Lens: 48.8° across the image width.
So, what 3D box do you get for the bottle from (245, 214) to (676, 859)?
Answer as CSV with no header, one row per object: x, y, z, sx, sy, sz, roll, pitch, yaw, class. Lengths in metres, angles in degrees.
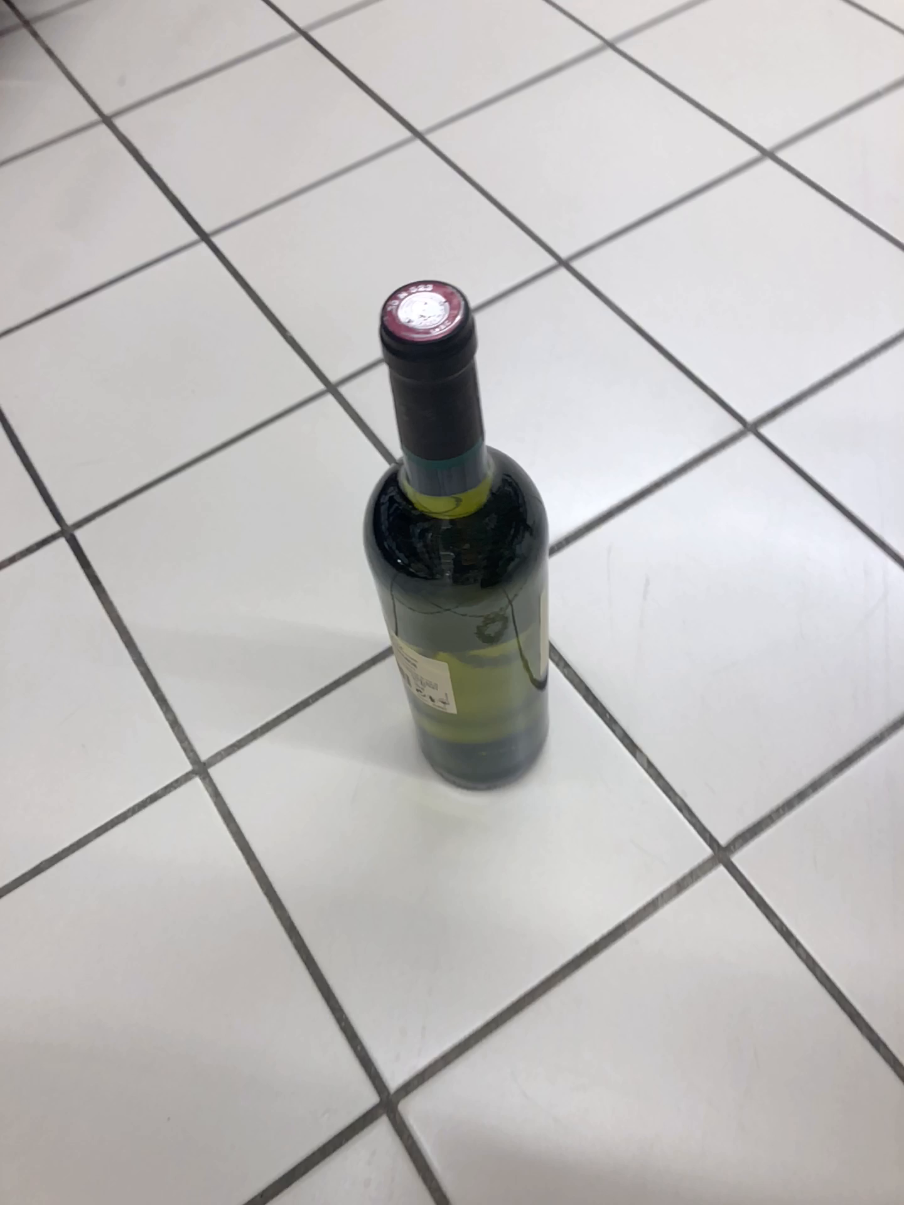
0.013,0.002,0.417,0.090,0.289,0.090,-2,59,4,bottle
